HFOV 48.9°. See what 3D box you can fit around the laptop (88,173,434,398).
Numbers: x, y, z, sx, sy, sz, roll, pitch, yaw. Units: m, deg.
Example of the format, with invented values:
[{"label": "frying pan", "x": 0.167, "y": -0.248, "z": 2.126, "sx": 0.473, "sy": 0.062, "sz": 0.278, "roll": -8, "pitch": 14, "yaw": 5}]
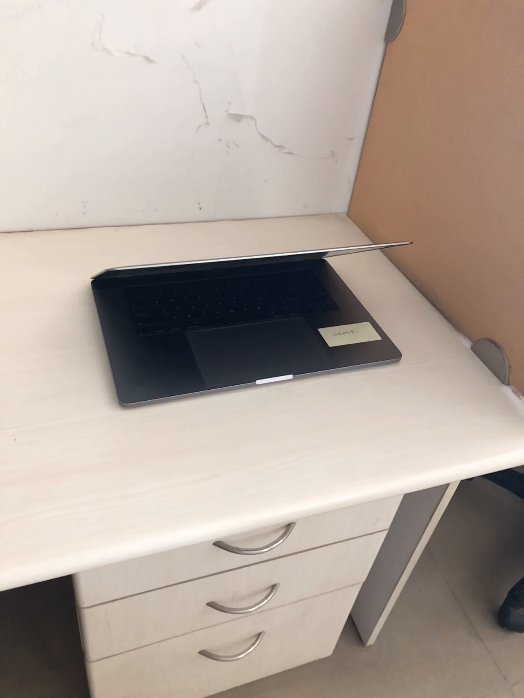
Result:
[{"label": "laptop", "x": -0.019, "y": -0.095, "z": 0.679, "sx": 0.330, "sy": 0.133, "sz": 0.234, "roll": -8, "pitch": 40, "yaw": -19}]
